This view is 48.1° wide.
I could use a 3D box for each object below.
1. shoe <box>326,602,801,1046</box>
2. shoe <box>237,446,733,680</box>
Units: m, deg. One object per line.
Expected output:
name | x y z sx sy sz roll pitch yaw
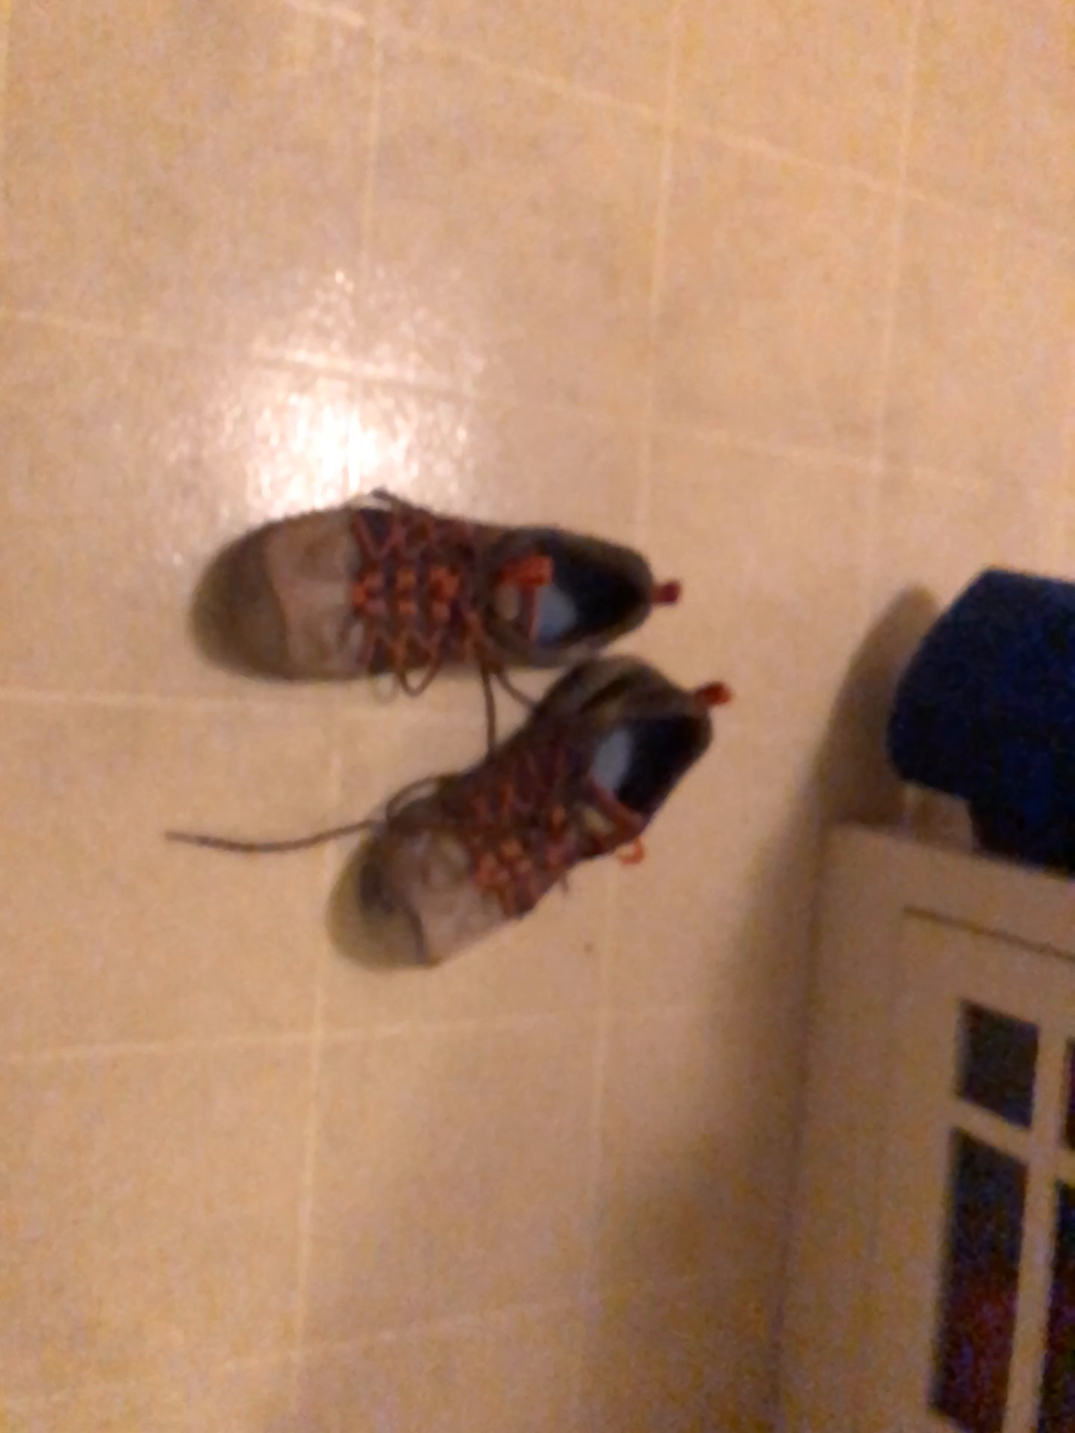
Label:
shoe | 0.019 0.060 0.820 0.282 0.122 0.127 -42 110 -17
shoe | -0.033 -0.090 0.776 0.293 0.122 0.127 -1 95 -26
